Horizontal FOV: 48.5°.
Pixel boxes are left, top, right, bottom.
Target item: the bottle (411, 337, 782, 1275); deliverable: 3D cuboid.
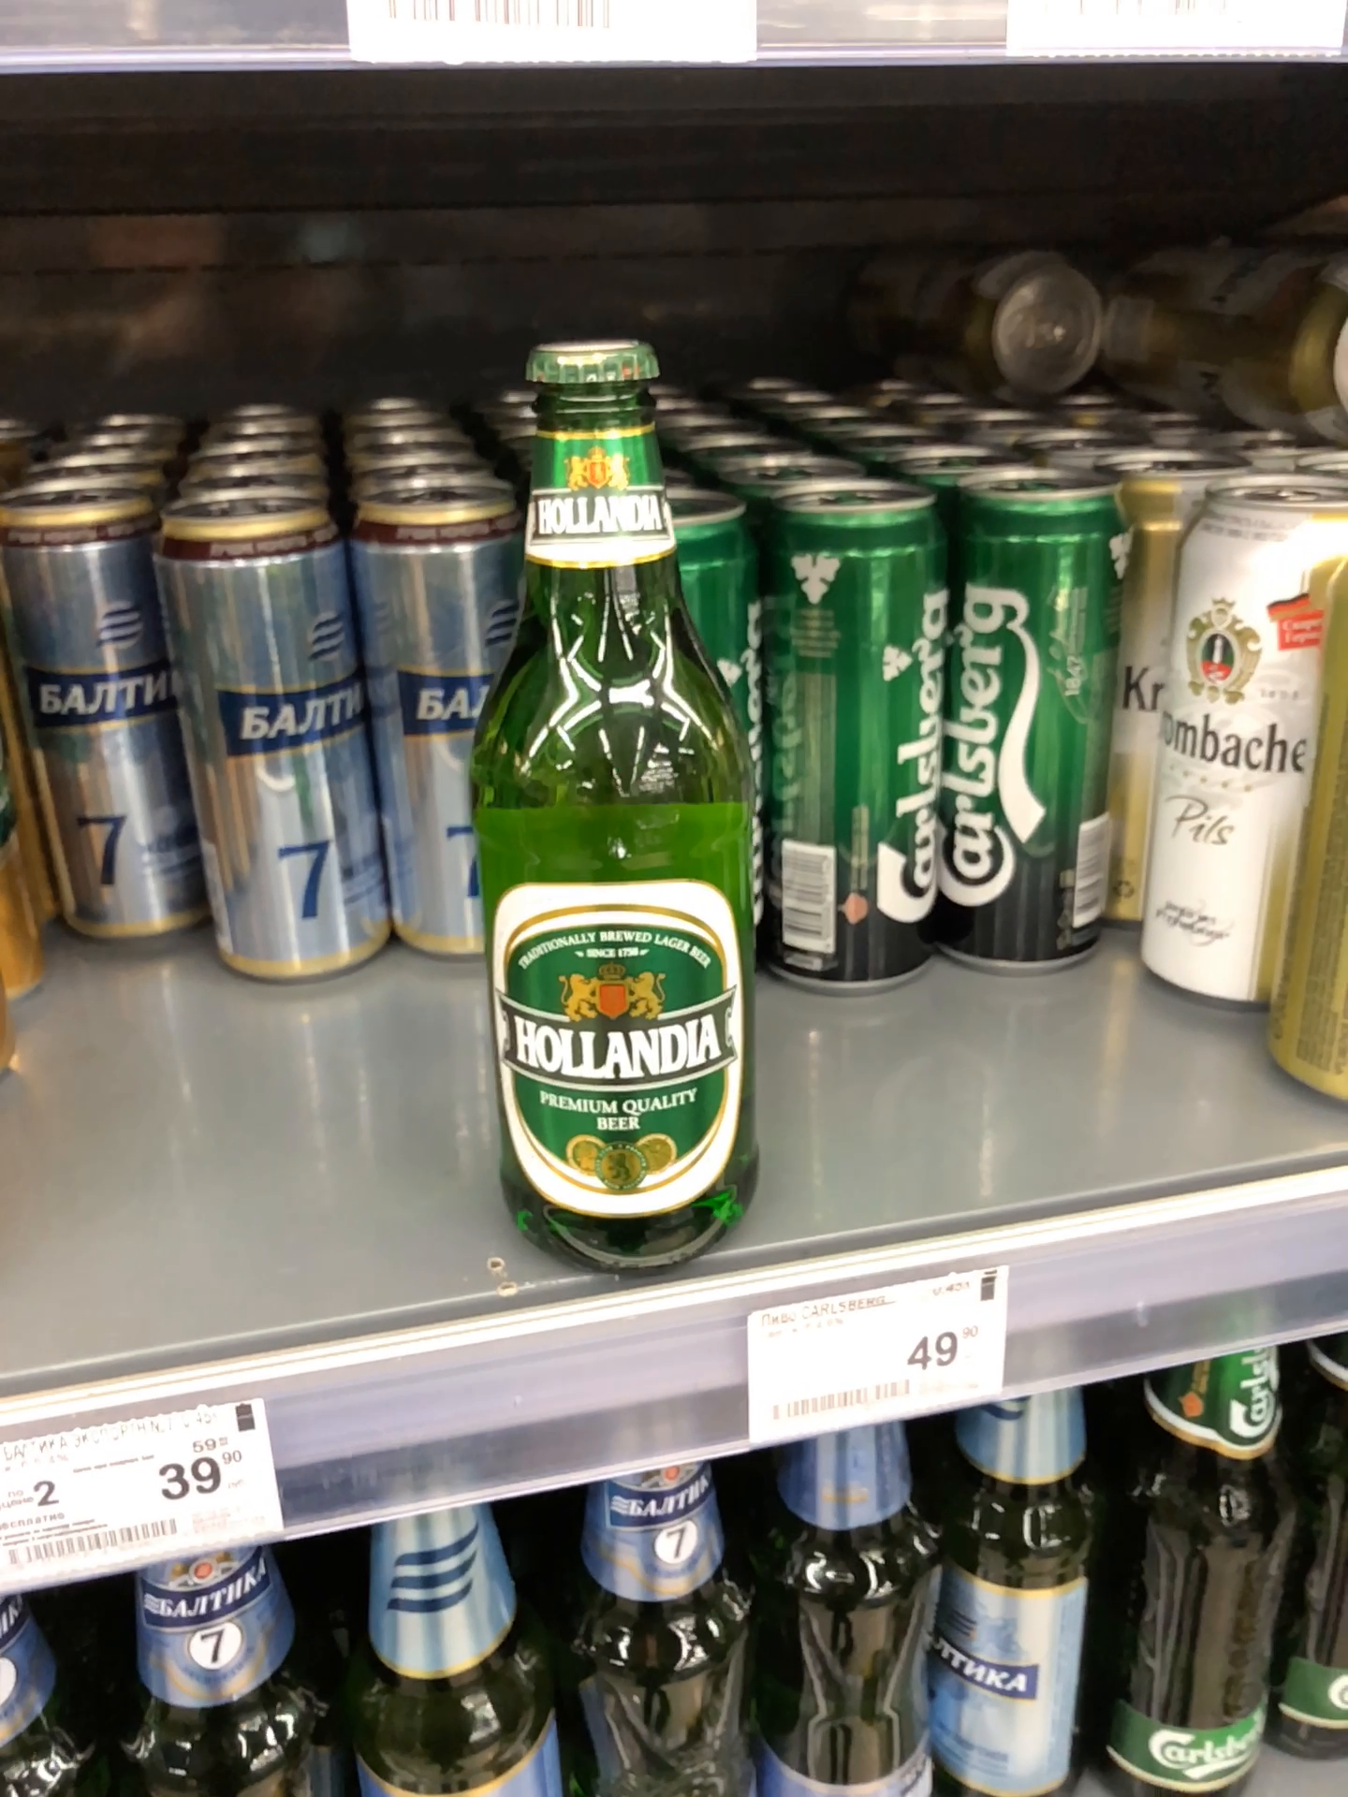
[{"bbox_3d":[-0.011,-0.018,0.356,0.070,0.211,0.063,1,23,5],"label":"bottle"}]
